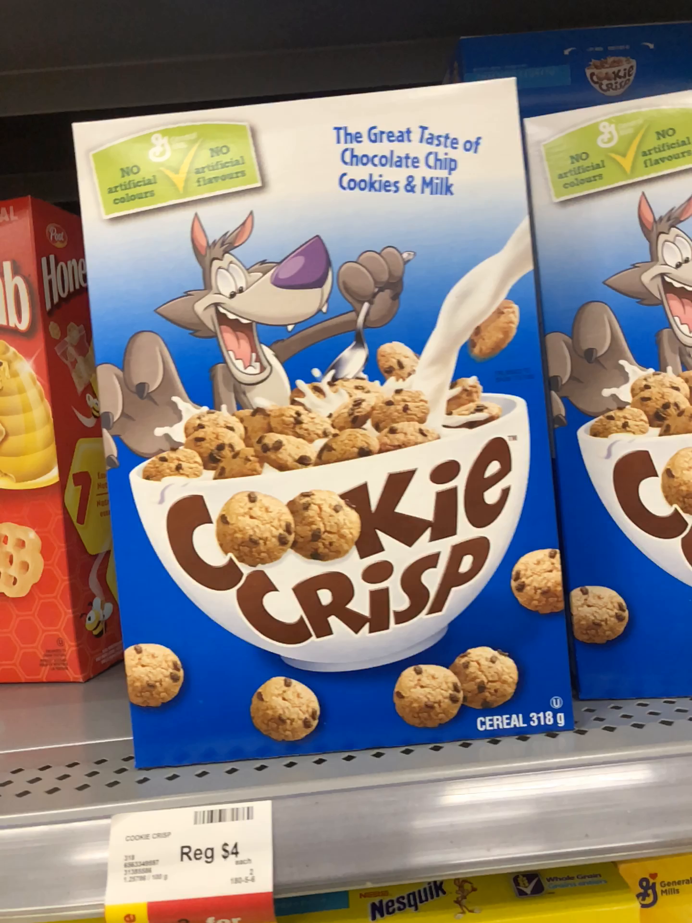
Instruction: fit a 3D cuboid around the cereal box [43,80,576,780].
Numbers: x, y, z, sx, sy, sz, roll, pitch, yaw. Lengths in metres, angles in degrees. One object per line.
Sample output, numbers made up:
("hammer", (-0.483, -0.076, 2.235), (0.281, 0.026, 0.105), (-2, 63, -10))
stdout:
("cereal box", (-0.014, -0.014, 0.350), (0.200, 0.280, 0.050), (-6, 1, -2))
